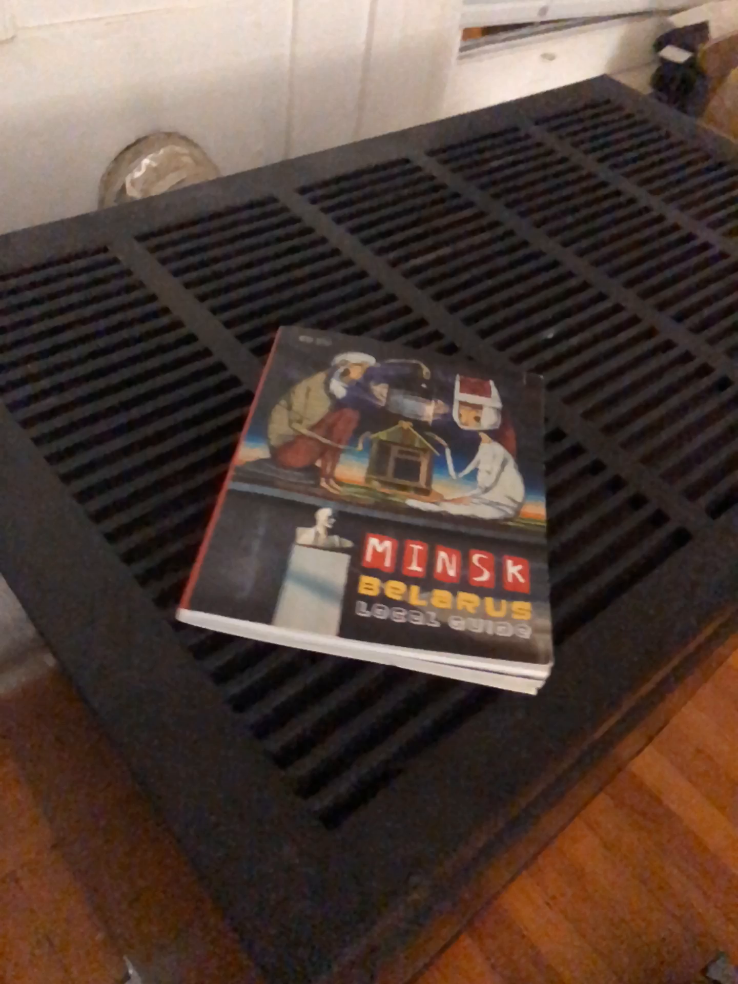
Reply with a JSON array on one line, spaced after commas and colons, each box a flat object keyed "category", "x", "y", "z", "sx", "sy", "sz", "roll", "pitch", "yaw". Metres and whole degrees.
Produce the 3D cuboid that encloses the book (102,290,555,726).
[{"category": "book", "x": -0.001, "y": -0.010, "z": 0.358, "sx": 0.160, "sy": 0.020, "sz": 0.201, "roll": 11, "pitch": 47, "yaw": 0}]
